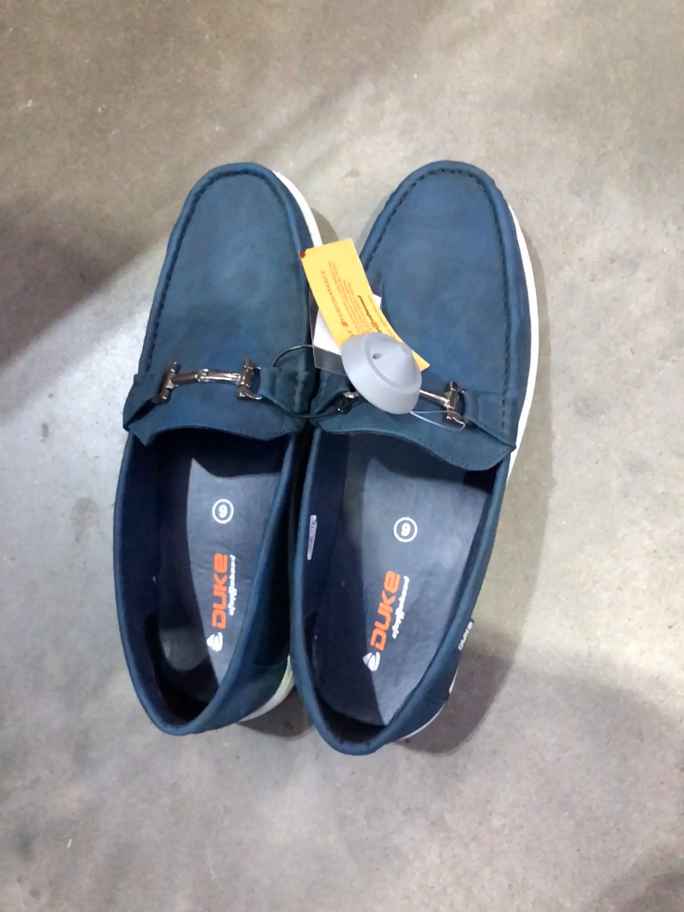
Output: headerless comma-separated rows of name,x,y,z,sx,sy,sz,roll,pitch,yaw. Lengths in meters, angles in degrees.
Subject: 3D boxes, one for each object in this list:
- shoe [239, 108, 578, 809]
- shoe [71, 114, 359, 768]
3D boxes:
shoe,0.037,-0.005,0.387,0.110,0.080,0.310,8,86,10
shoe,-0.059,-0.012,0.405,0.110,0.080,0.310,2,85,9
